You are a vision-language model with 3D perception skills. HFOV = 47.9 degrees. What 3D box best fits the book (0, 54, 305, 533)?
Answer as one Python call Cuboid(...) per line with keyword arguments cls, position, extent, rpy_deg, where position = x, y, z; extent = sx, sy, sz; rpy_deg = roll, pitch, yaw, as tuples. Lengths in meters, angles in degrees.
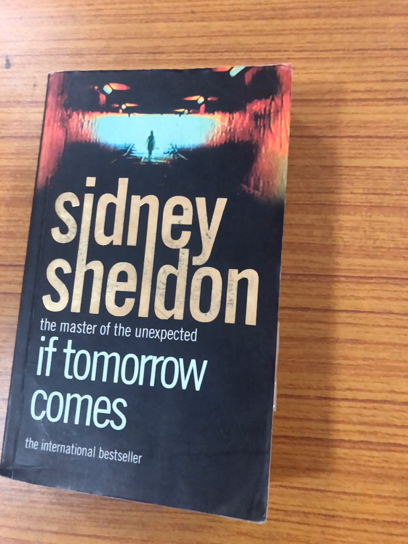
Cuboid(cls="book", position=(-0.021, 0.001, 0.193), extent=(0.114, 0.034, 0.176), rpy_deg=(3, 82, 9))
